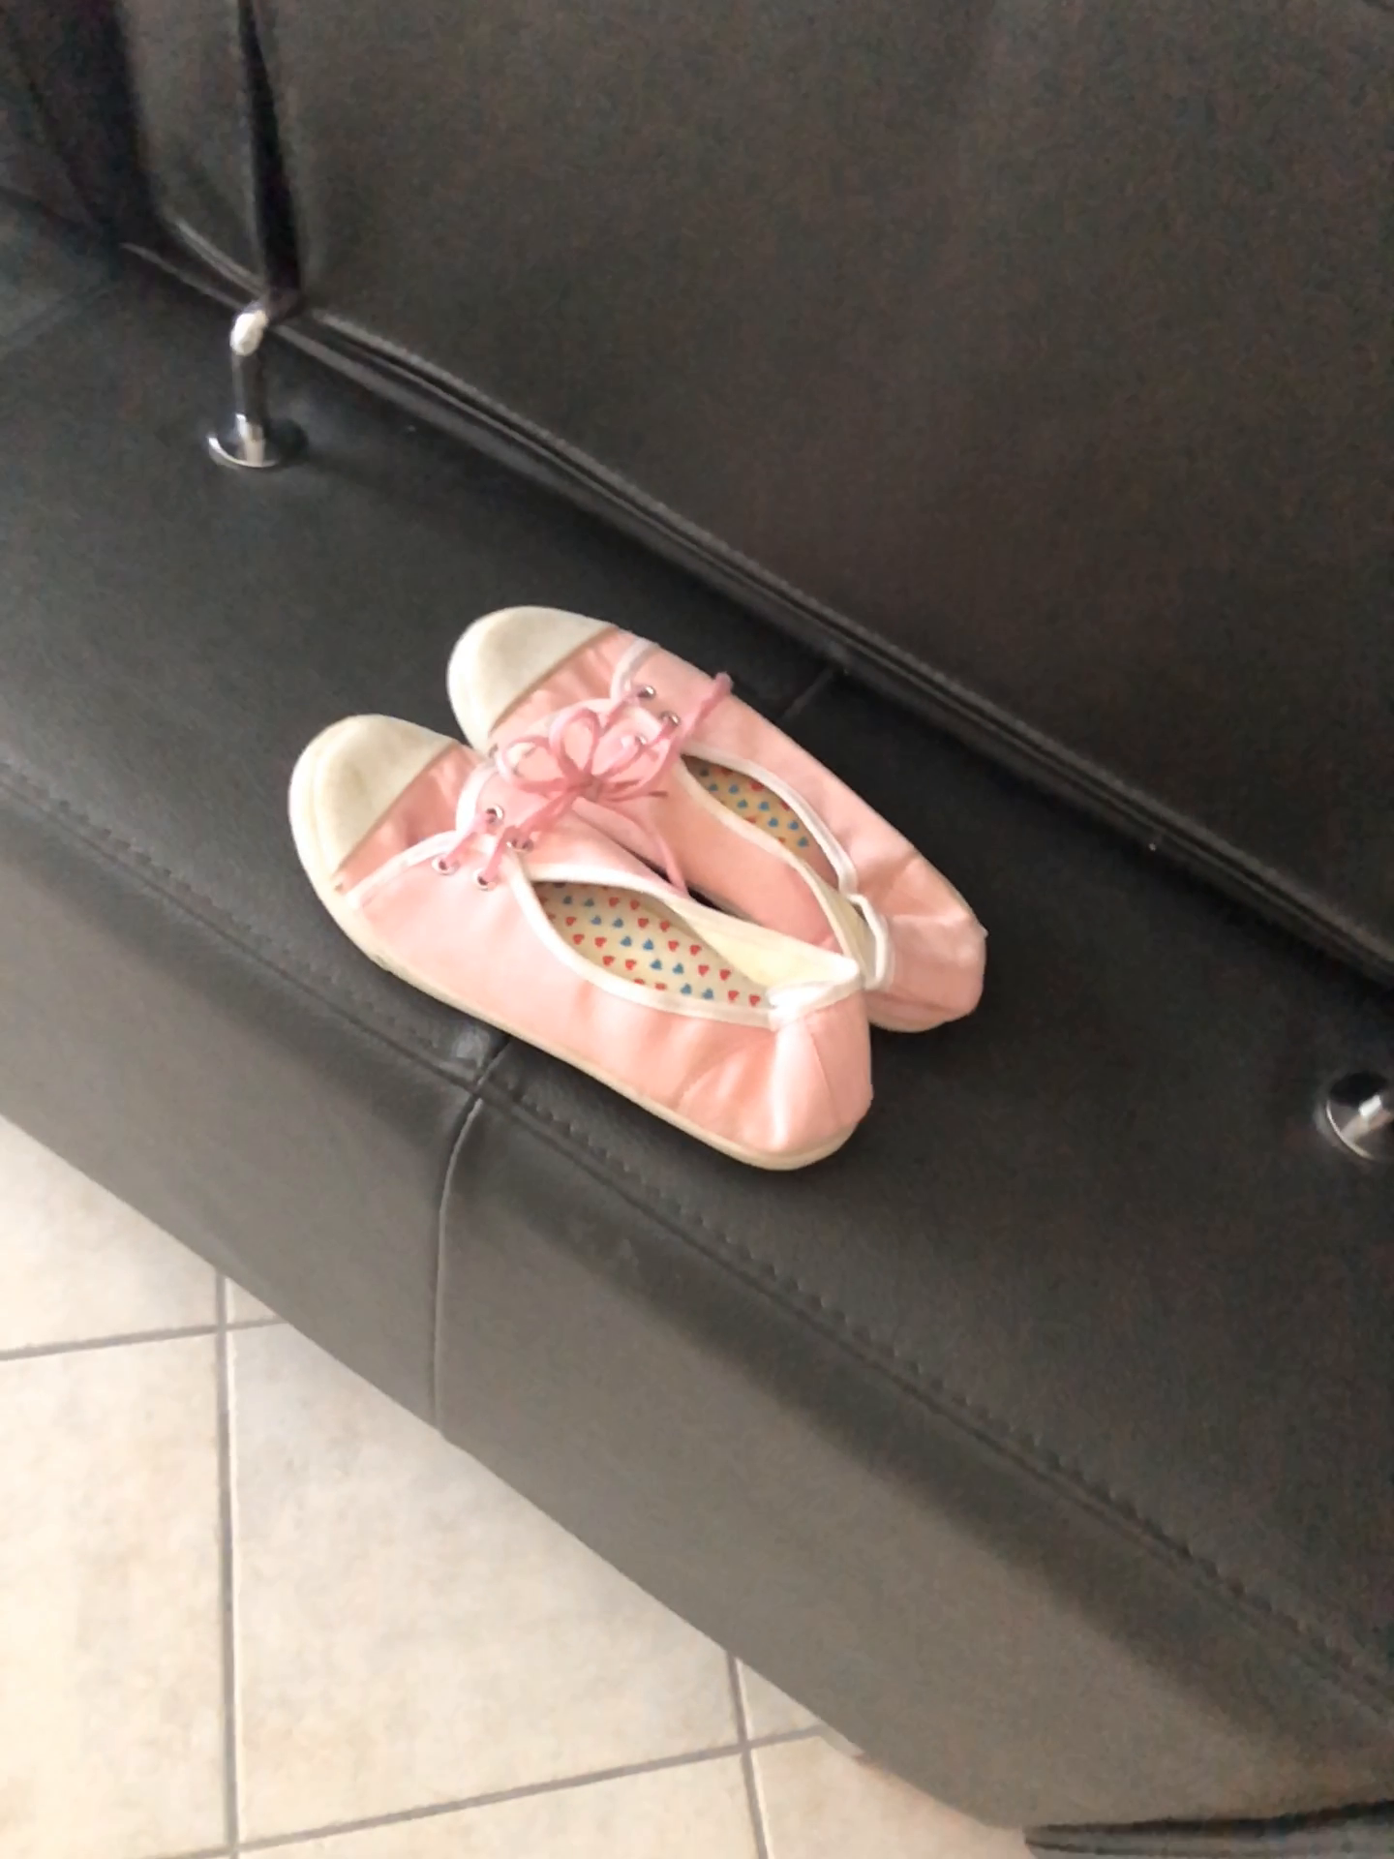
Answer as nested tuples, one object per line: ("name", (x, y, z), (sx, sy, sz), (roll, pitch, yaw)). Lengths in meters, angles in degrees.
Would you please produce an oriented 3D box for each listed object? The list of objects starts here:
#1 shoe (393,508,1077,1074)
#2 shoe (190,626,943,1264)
("shoe", (0.011, -0.056, 0.566), (0.240, 0.040, 0.090), (35, 60, 11))
("shoe", (-0.045, -0.001, 0.515), (0.240, 0.040, 0.090), (35, 60, 11))
